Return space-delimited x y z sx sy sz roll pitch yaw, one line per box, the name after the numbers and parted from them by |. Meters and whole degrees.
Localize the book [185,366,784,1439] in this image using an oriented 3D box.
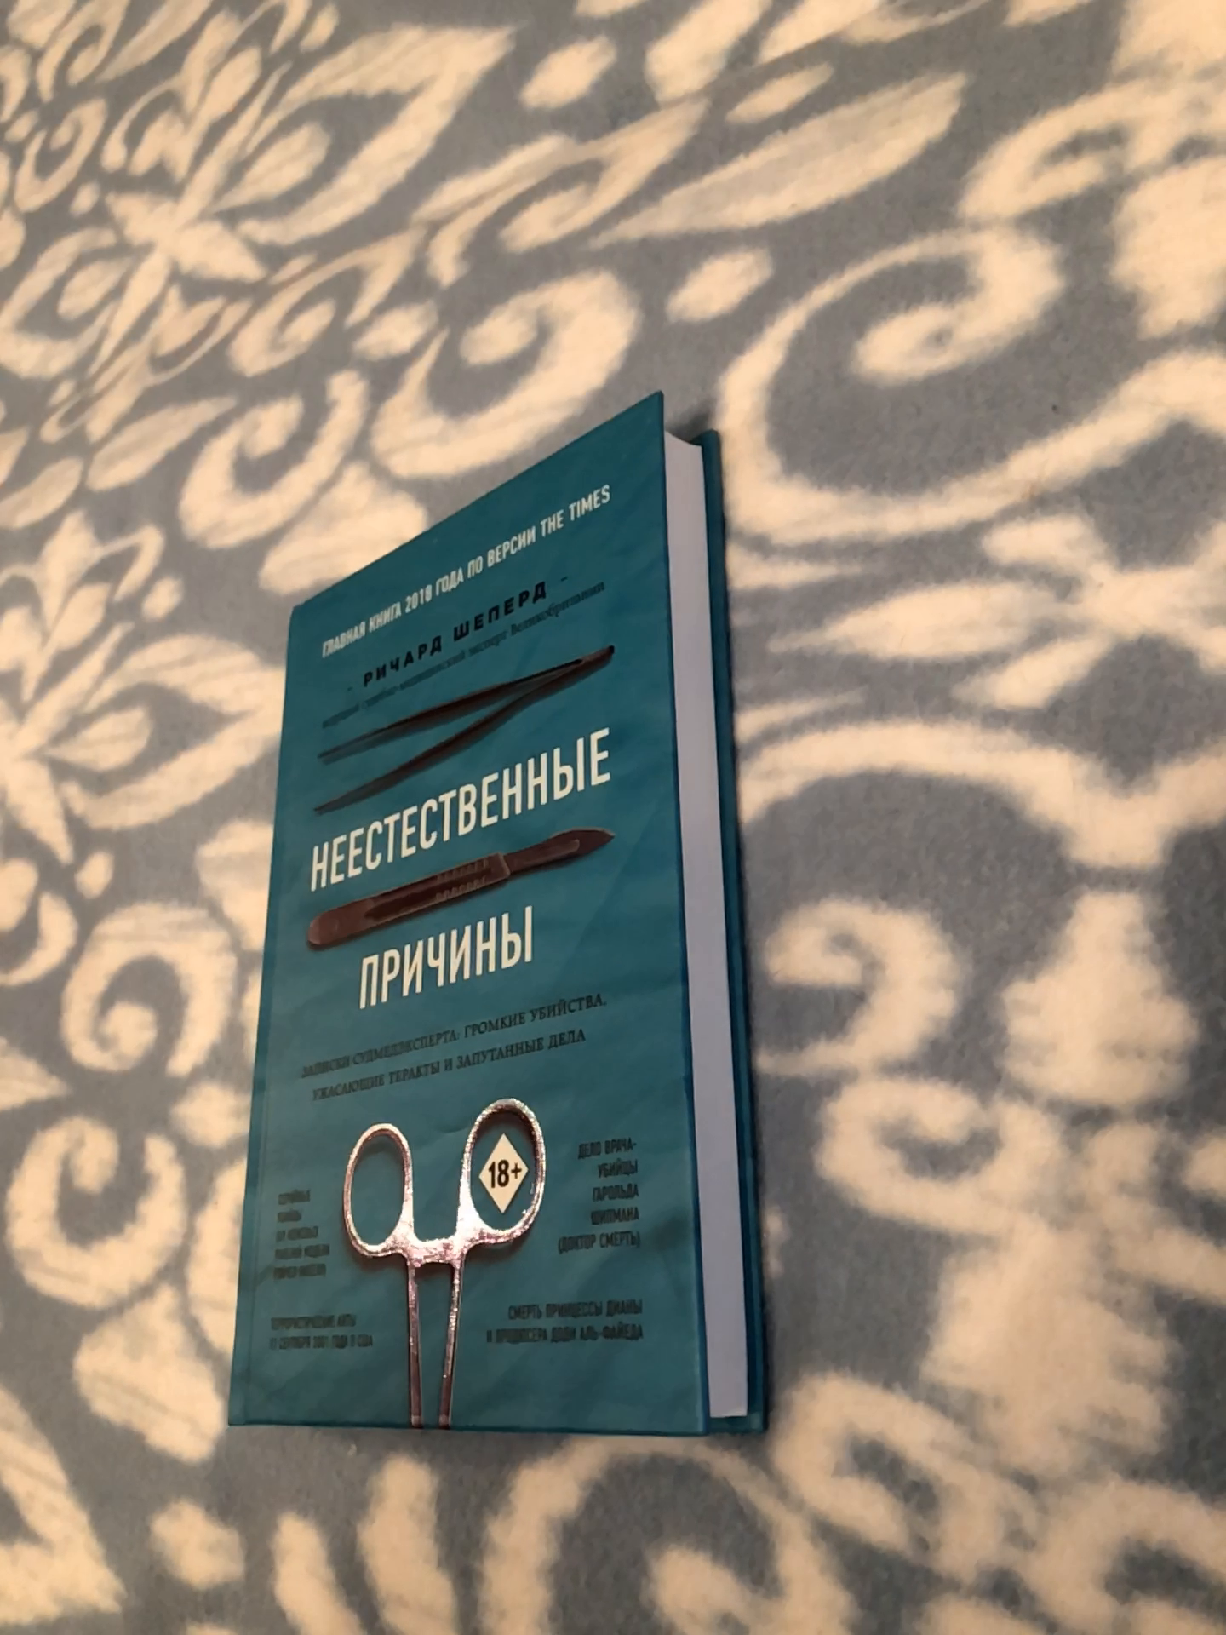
-0.036 0.023 0.318 0.149 0.025 0.218 -19 62 37 | book
